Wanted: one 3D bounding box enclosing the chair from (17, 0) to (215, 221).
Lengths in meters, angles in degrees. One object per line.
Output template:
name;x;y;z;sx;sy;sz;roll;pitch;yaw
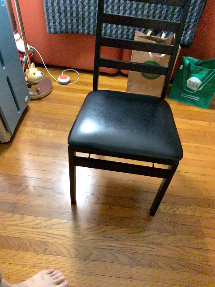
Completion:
chair;0.088;-0.158;0.864;0.490;0.866;0.553;6;49;0
